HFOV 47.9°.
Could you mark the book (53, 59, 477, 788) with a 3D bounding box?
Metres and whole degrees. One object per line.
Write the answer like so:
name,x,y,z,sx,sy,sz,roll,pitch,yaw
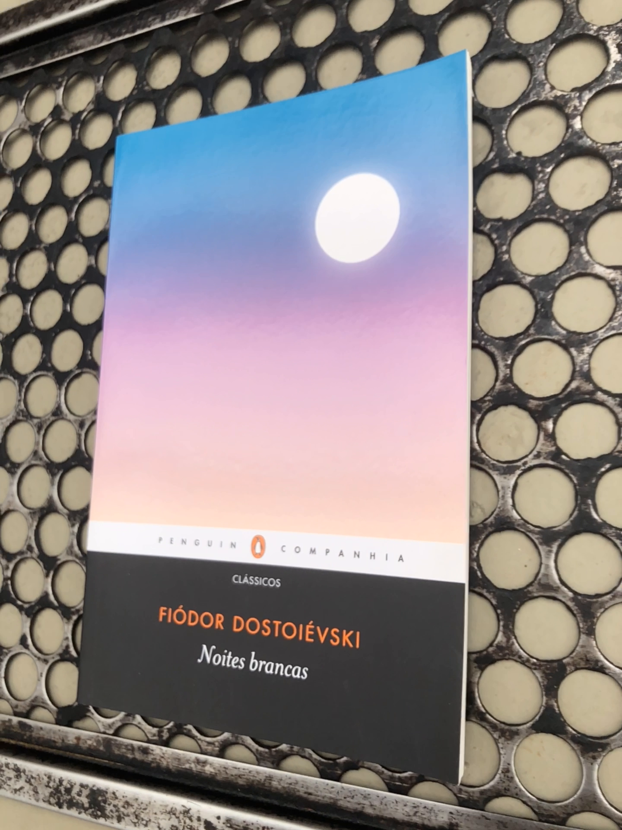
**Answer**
book,-0.018,-0.002,0.215,0.133,0.010,0.191,-1,83,25
